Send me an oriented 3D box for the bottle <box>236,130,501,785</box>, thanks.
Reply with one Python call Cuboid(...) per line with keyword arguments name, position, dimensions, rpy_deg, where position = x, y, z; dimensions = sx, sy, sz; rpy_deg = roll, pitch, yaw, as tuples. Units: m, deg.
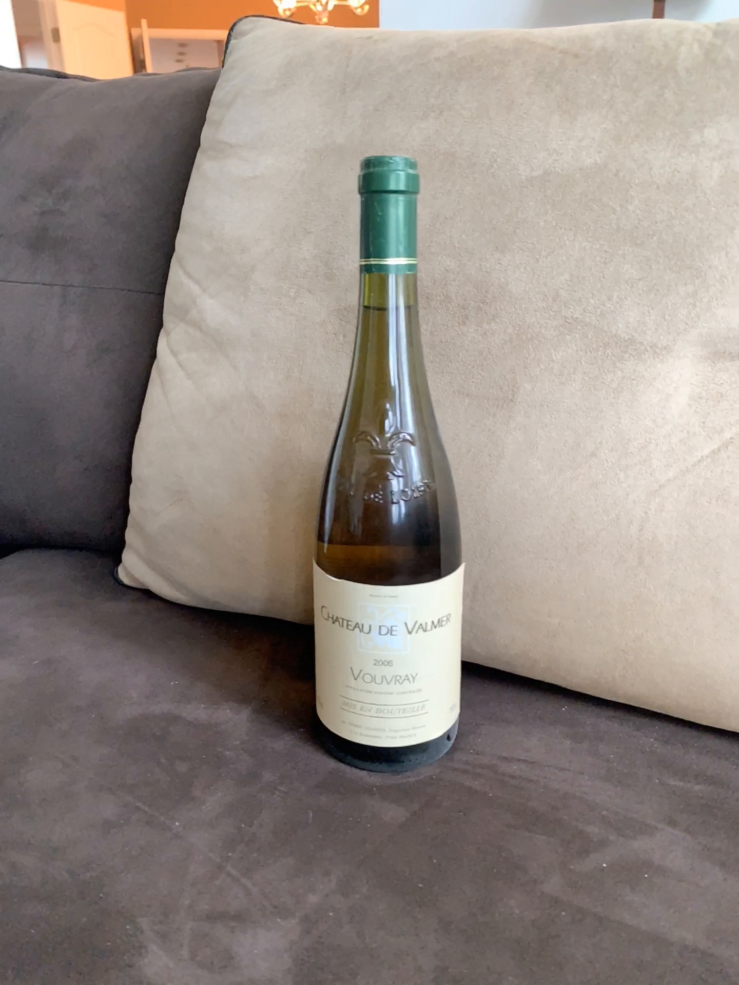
Cuboid(name="bottle", position=(0.005, -0.009, 0.384), dimensions=(0.100, 0.308, 0.090), rpy_deg=(1, 22, 4))
